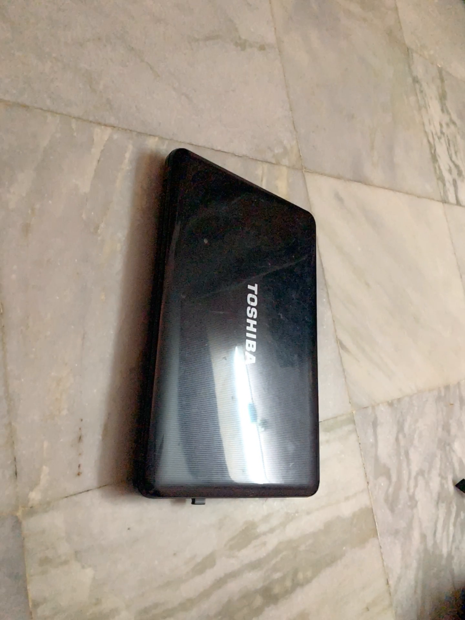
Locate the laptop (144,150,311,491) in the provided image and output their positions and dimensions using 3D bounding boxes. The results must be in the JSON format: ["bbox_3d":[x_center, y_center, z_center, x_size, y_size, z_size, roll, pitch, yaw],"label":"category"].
[{"bbox_3d":[0.015,0.017,0.543,0.223,0.003,0.355,16,69,-37],"label":"laptop"}]
